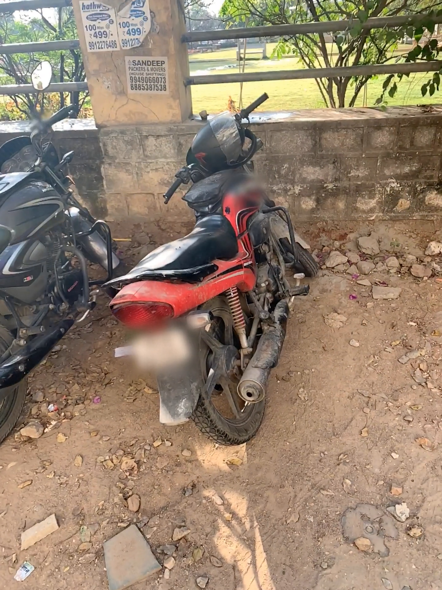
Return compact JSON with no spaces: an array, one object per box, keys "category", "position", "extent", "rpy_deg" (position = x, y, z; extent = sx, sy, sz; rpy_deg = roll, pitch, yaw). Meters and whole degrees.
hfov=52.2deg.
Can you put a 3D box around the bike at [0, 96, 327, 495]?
[{"category":"bike","position":[-0.115,-0.198,2.181],"extent":[1.064,1.245,1.602],"rpy_deg":[4,29,14]}]
